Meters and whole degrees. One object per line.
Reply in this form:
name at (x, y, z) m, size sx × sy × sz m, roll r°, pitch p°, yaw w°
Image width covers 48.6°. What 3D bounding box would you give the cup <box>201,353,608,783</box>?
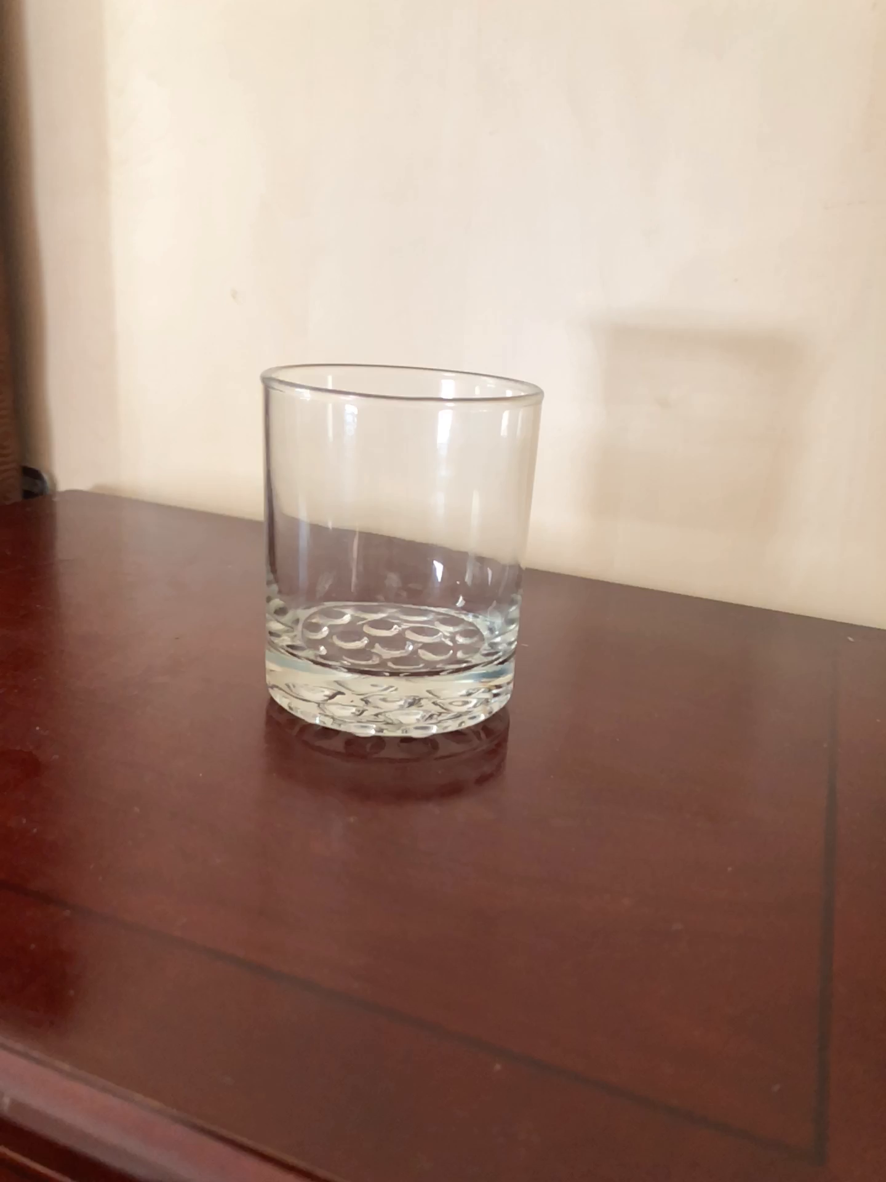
cup at (-0.011, -0.015, 0.287) m, size 0.081 × 0.097 × 0.082 m, roll 3°, pitch 17°, yaw -1°
